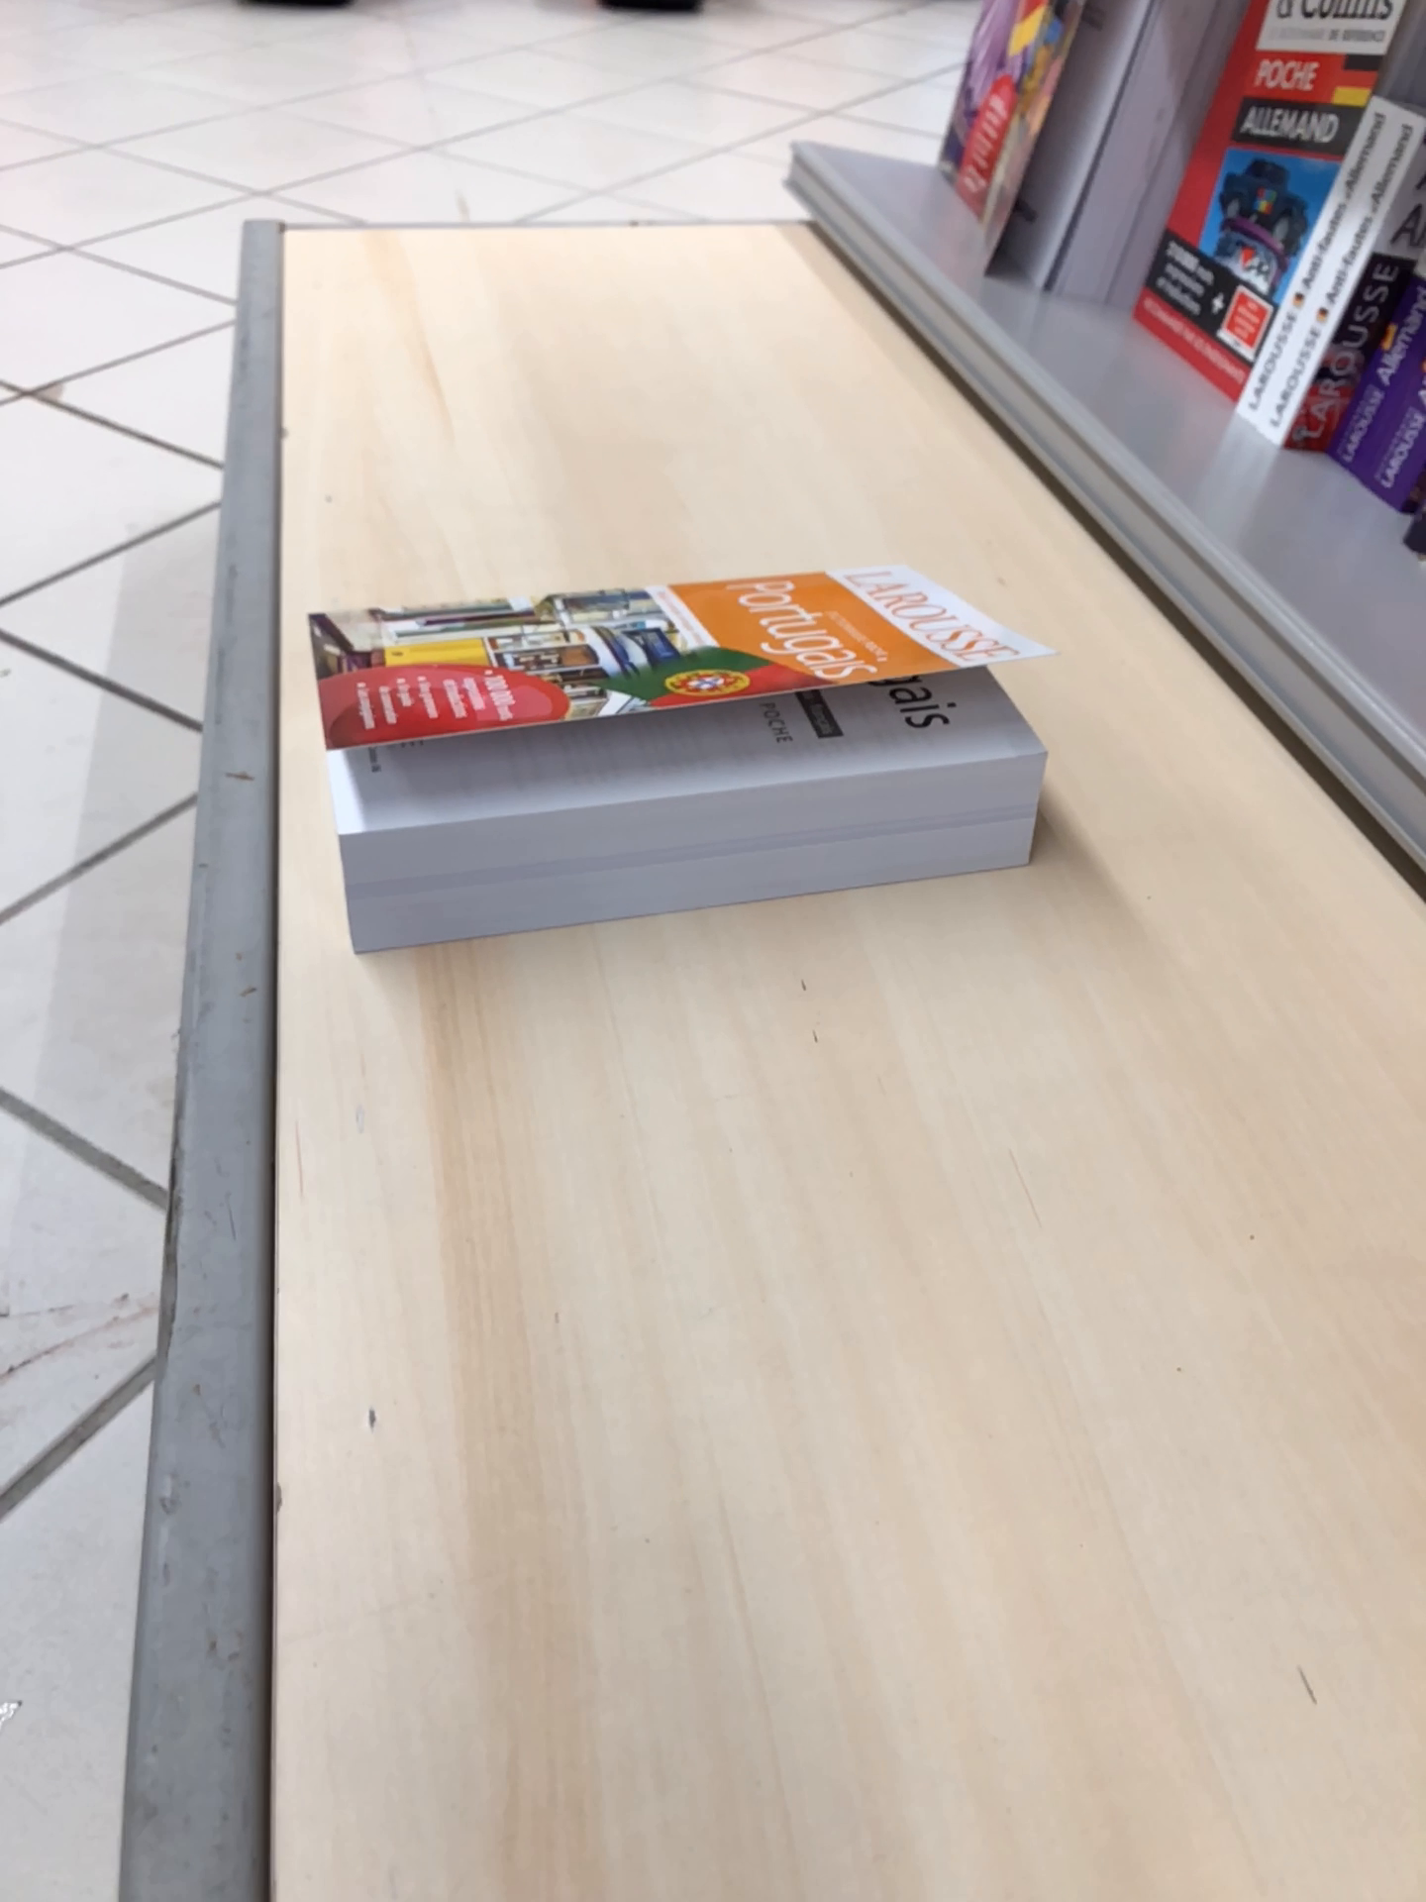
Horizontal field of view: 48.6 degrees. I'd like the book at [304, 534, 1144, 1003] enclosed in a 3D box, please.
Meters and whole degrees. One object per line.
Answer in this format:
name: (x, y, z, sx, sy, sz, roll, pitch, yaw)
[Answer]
book: (-0.004, -0.055, 0.407, 0.185, 0.046, 0.118, -7, 41, -14)
